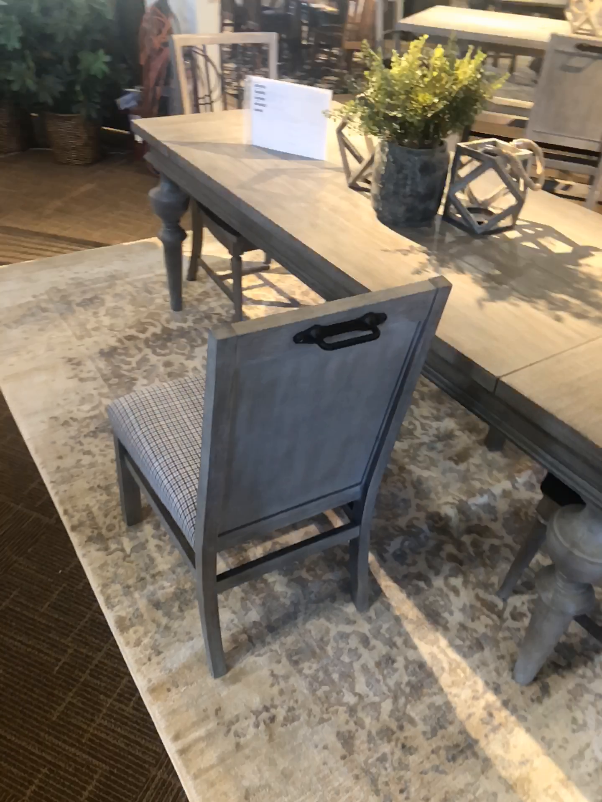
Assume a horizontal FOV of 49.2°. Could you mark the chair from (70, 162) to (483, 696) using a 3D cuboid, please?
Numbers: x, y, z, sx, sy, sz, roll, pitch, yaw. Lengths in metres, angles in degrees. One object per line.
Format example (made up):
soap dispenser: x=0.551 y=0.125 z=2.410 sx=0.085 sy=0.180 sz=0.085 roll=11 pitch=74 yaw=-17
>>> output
chair: x=-0.108 y=0.032 z=1.466 sx=0.511 sy=0.866 sz=0.662 roll=-16 pitch=42 yaw=-25
